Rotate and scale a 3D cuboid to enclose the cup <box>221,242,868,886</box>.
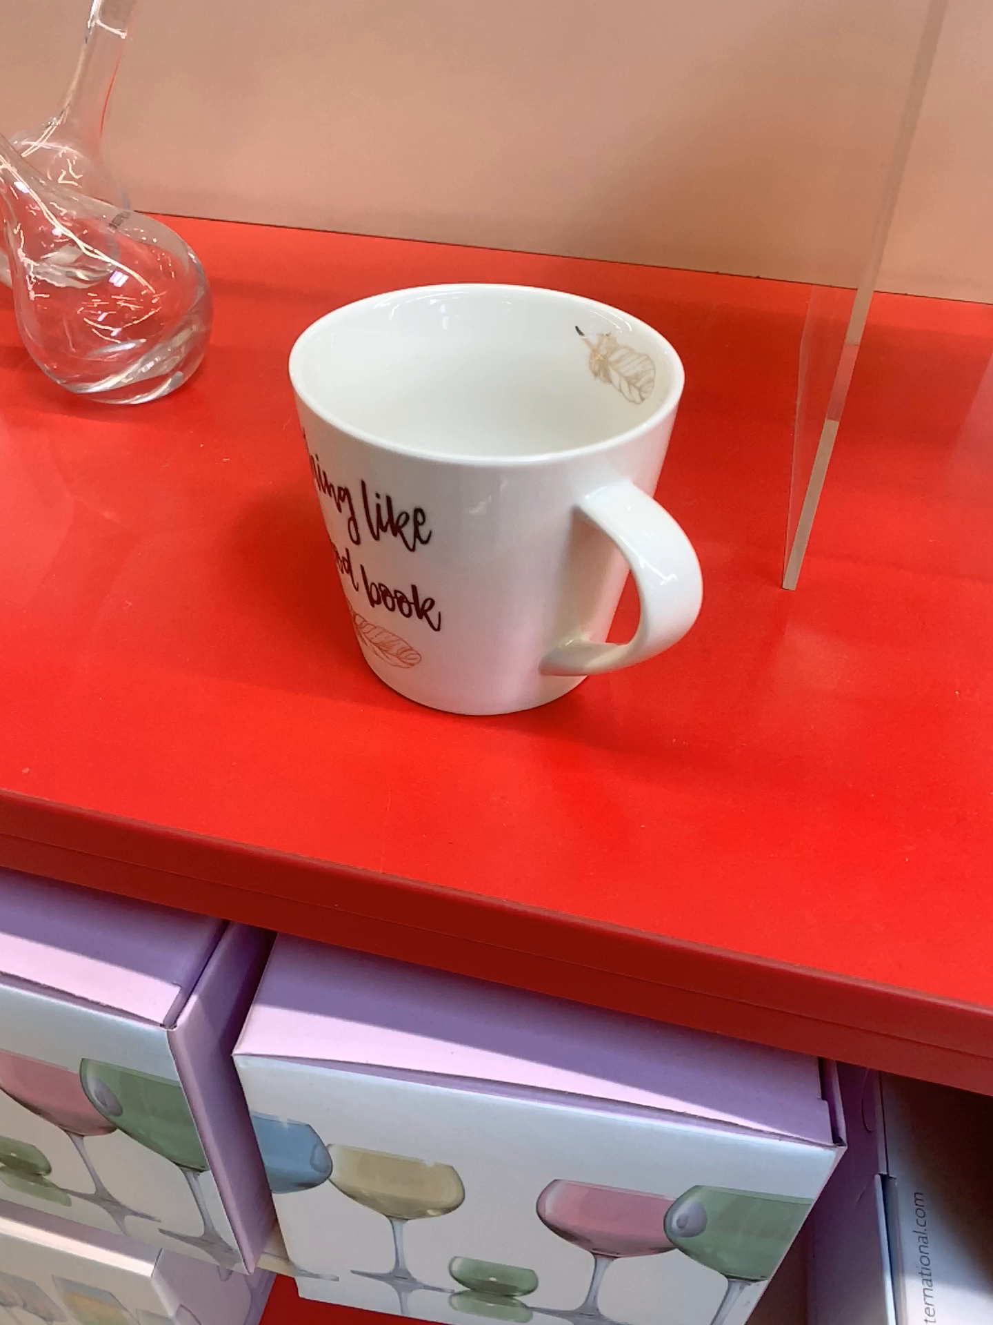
[{"bbox_3d":[0.003,-0.035,0.263,0.090,0.090,0.130,-21,45,-25],"label":"cup"}]
